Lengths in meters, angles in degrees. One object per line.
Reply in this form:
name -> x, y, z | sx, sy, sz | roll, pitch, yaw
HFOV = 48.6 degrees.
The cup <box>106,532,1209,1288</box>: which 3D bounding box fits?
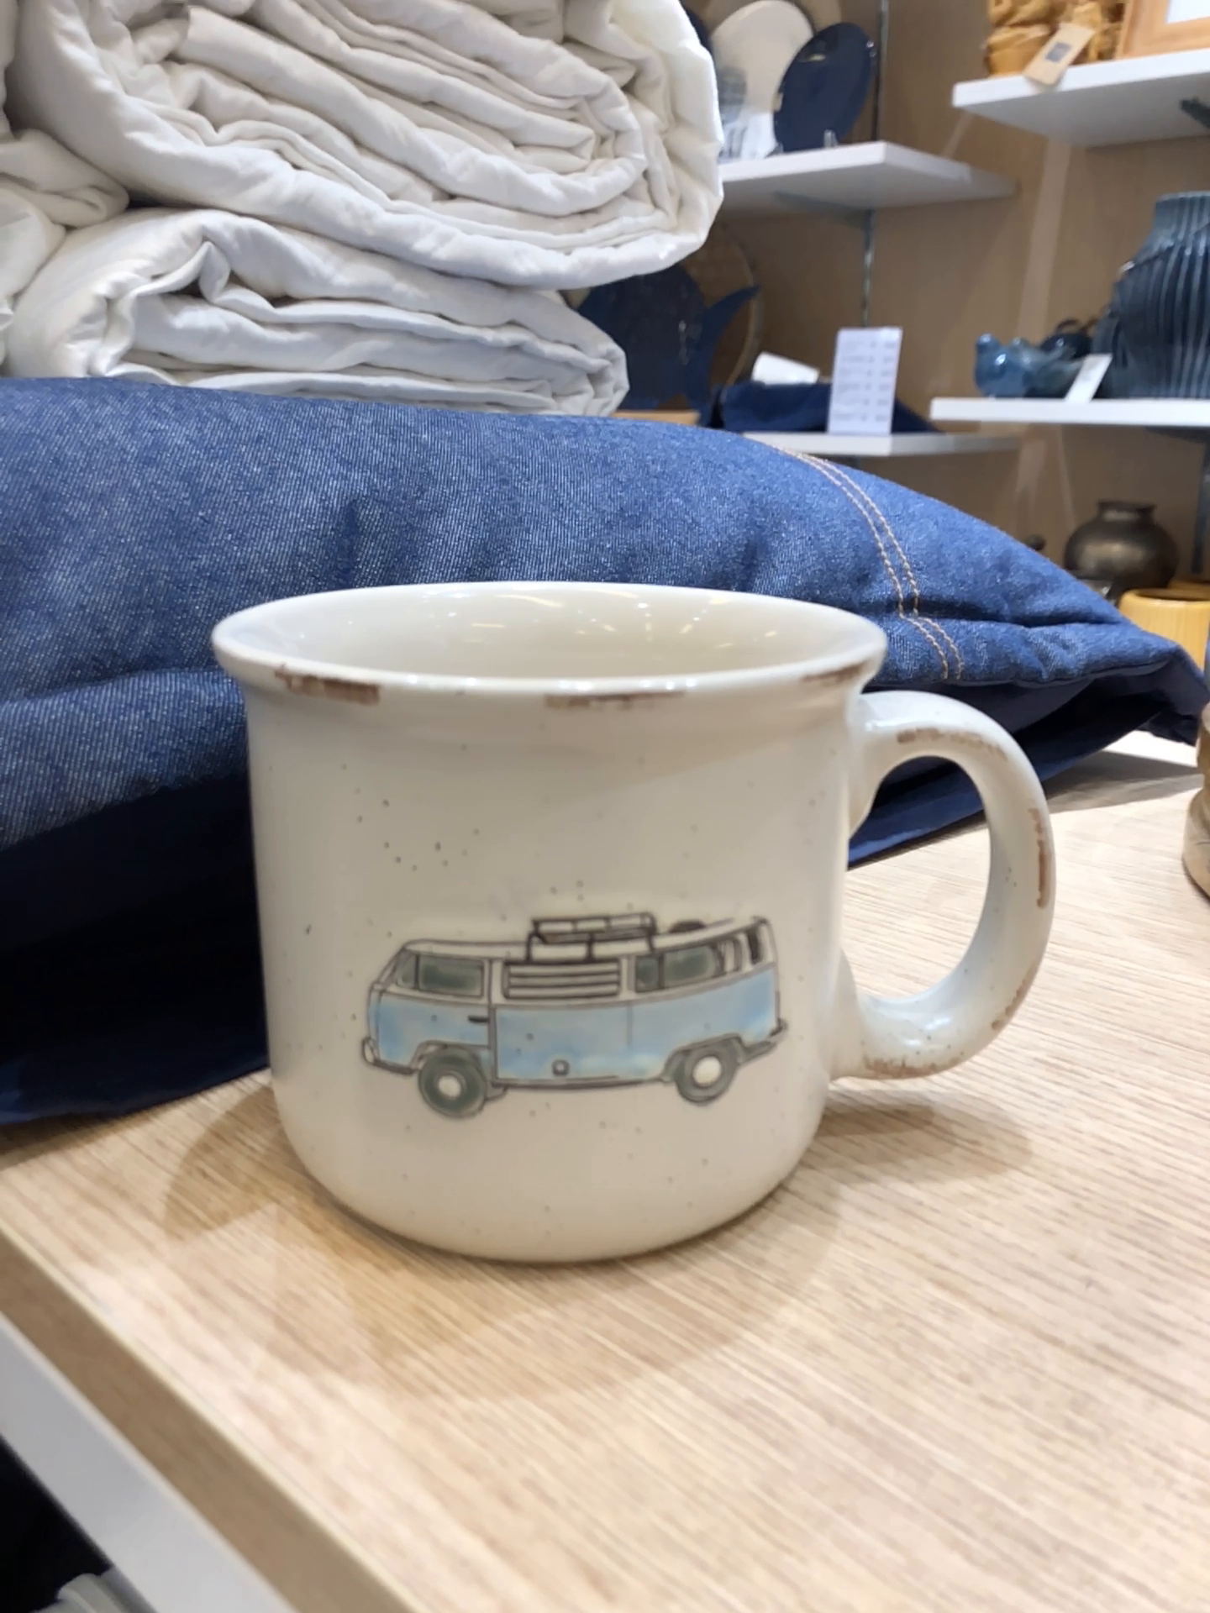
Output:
cup -> 0.008, 0.005, 0.219 | 0.140, 0.090, 0.101 | -1, 16, -5
